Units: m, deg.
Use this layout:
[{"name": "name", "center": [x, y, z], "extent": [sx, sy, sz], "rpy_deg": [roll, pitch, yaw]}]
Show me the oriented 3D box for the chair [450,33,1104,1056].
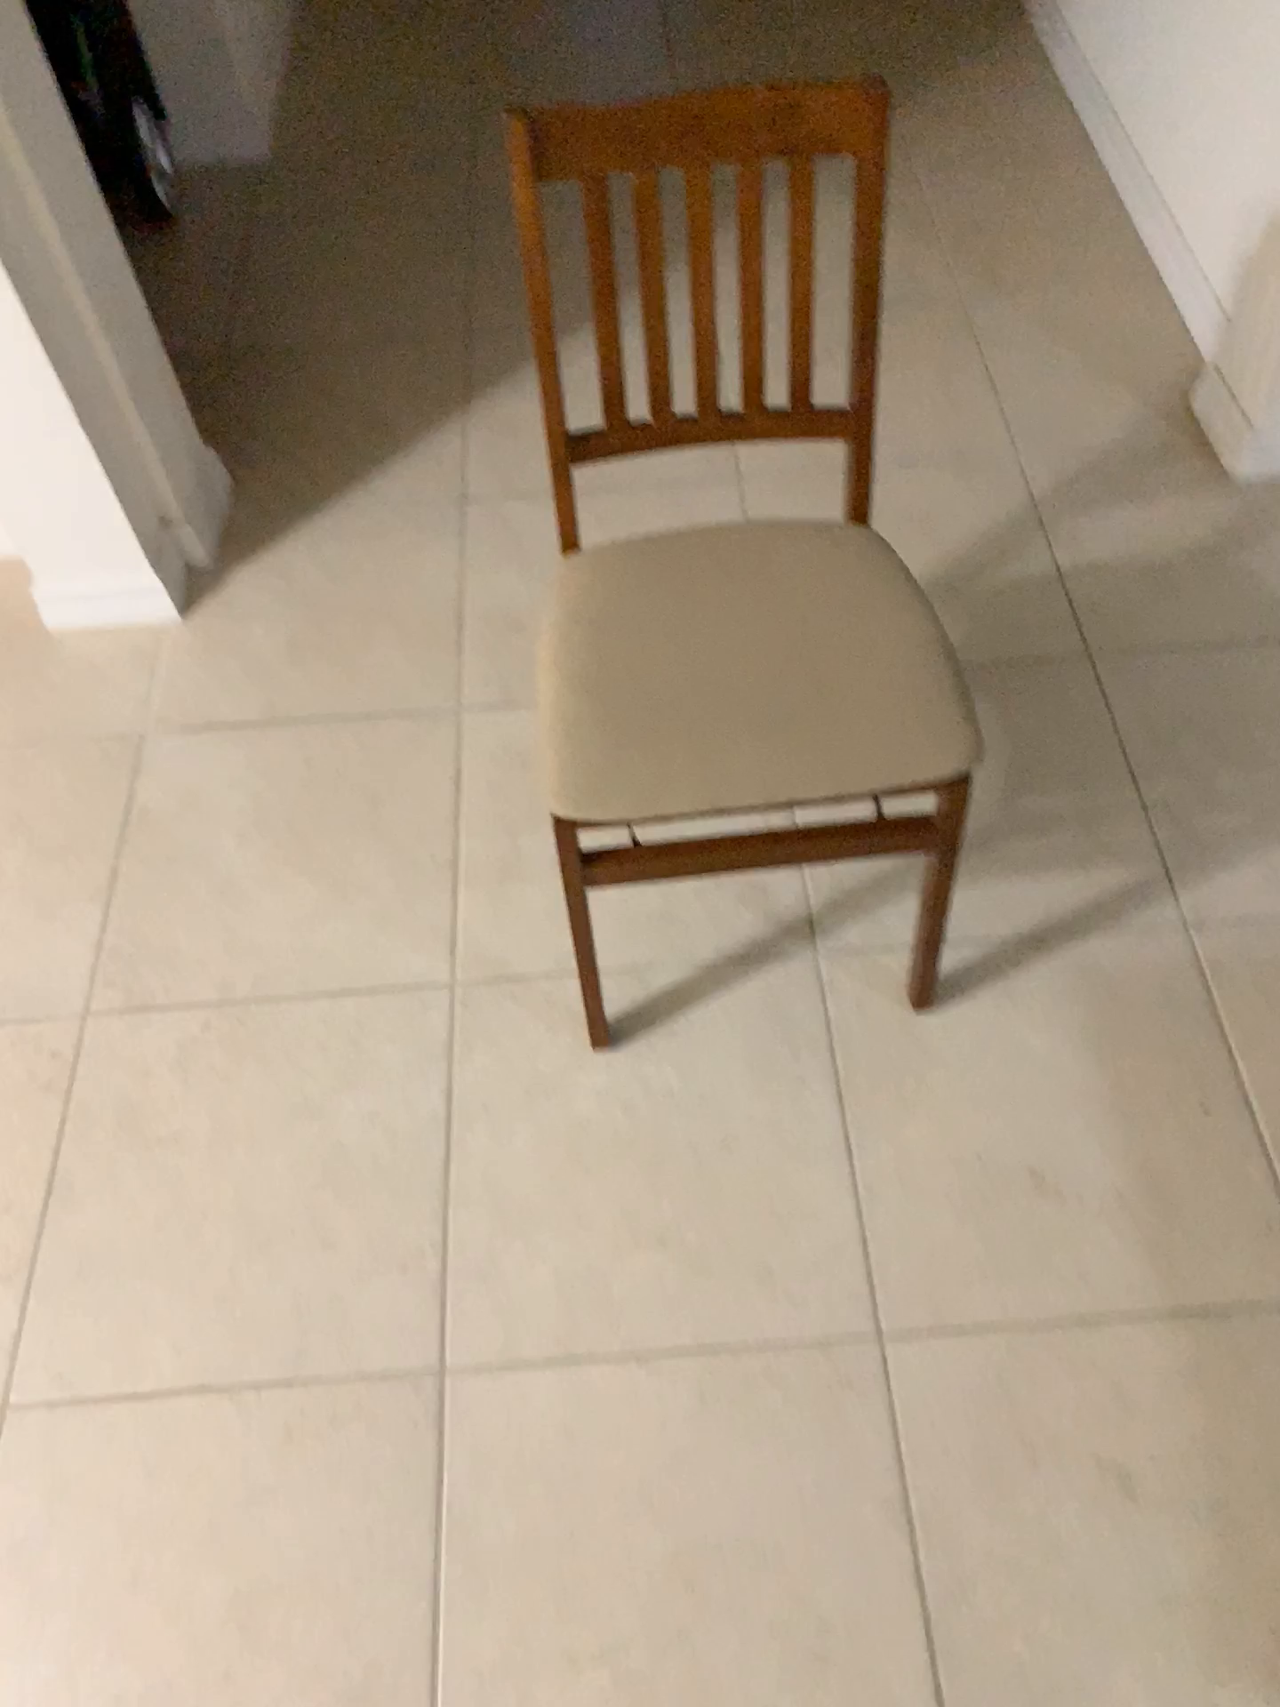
[{"name": "chair", "center": [0.098, -0.265, 1.429], "extent": [0.450, 0.882, 0.596], "rpy_deg": [-5, 54, 0]}]
